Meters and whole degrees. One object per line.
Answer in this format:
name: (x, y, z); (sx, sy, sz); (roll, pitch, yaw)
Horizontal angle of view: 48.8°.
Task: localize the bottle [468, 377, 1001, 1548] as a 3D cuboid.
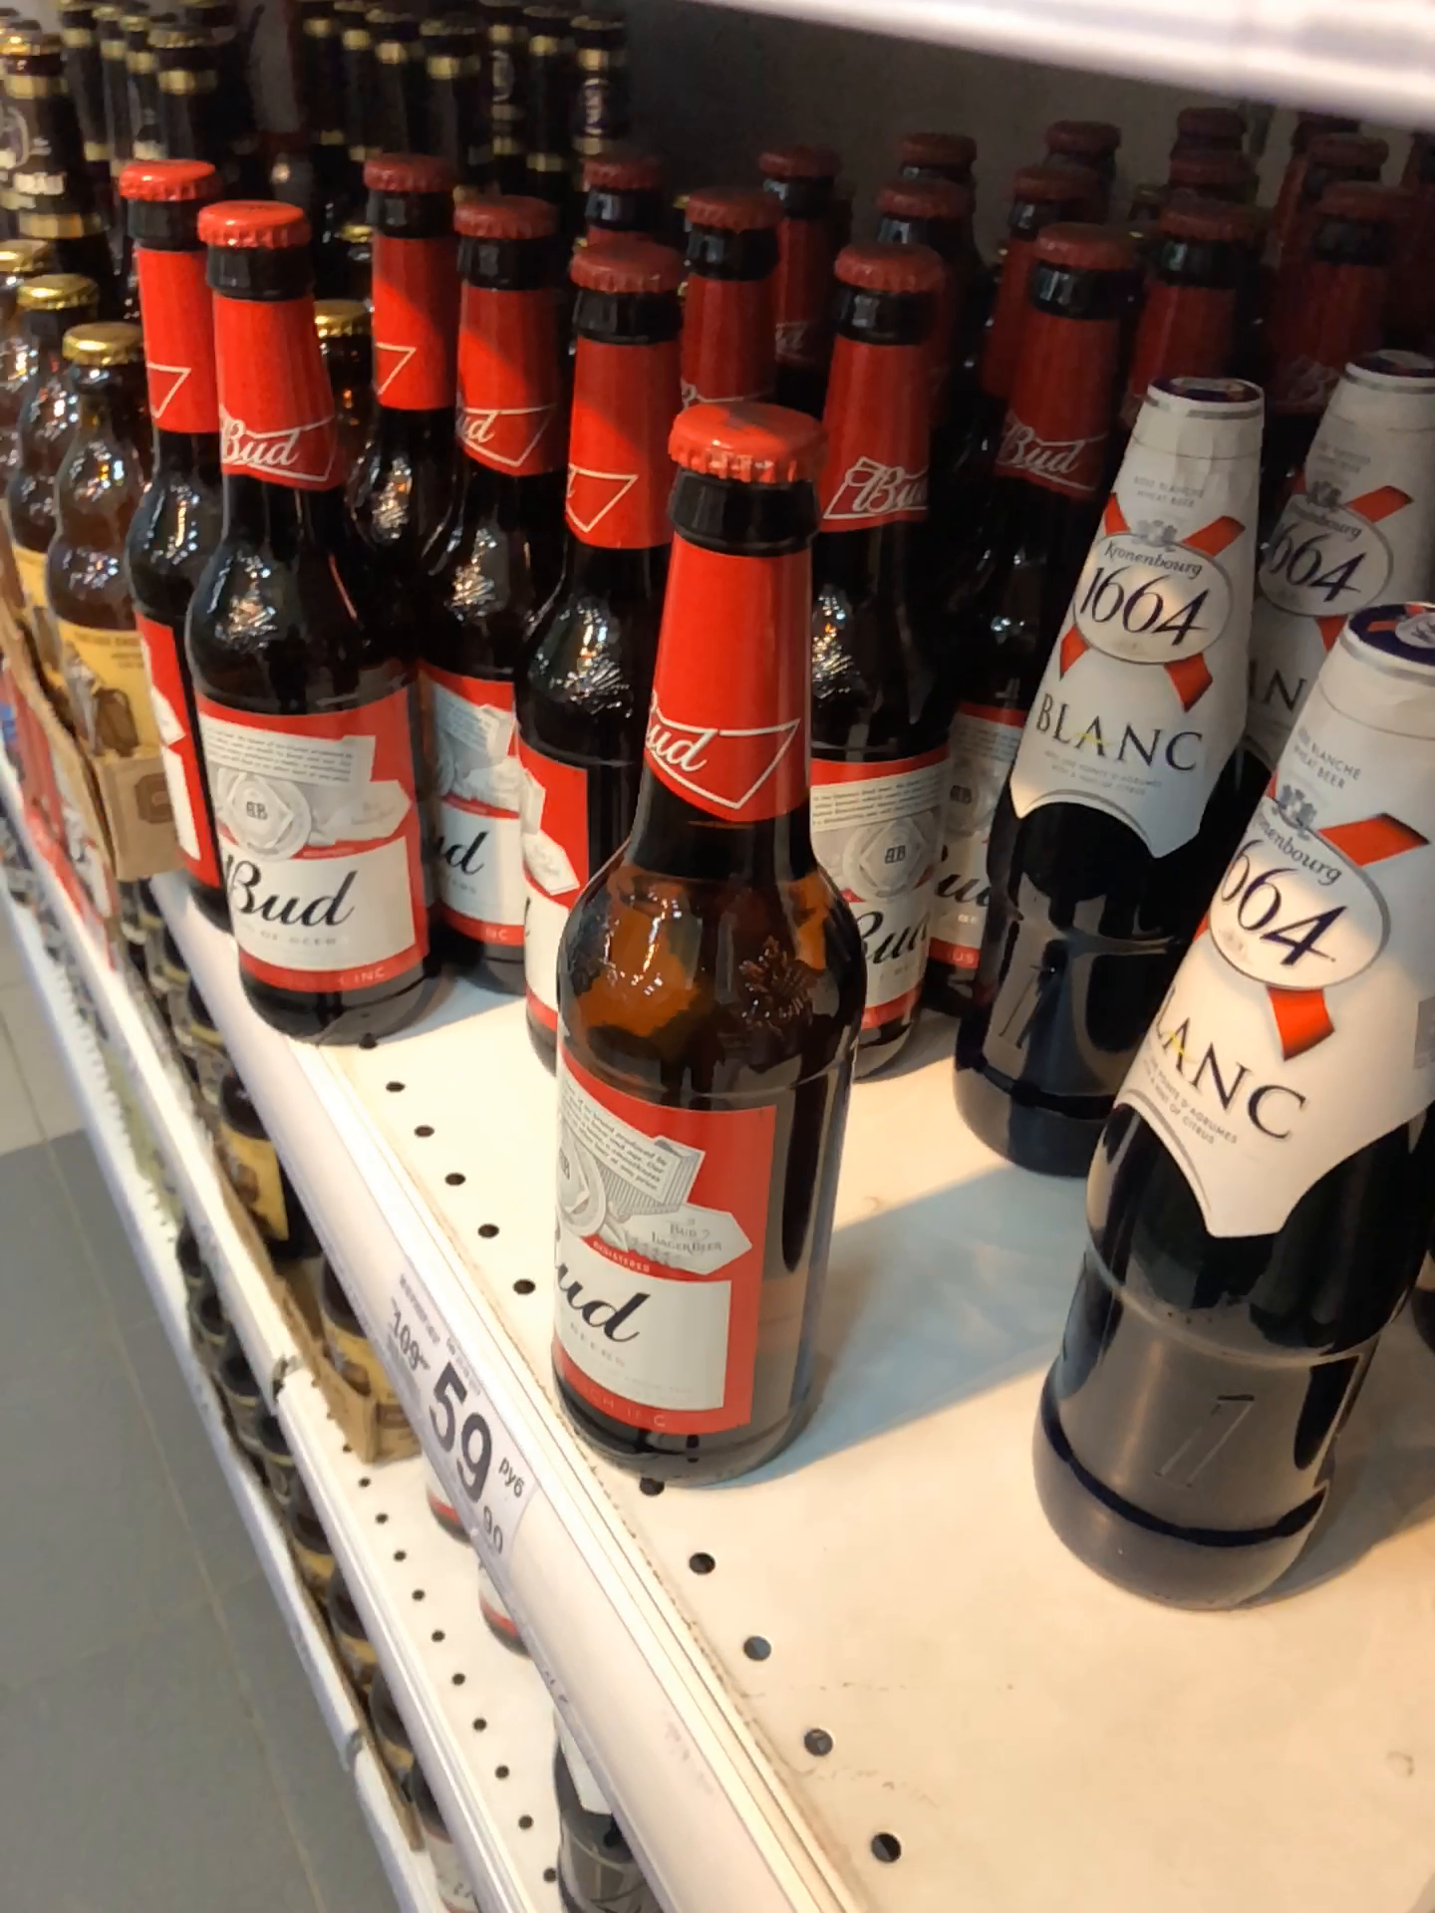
bottle: (-0.003, 0.012, 0.353); (0.070, 0.248, 0.080); (-12, 37, -19)
